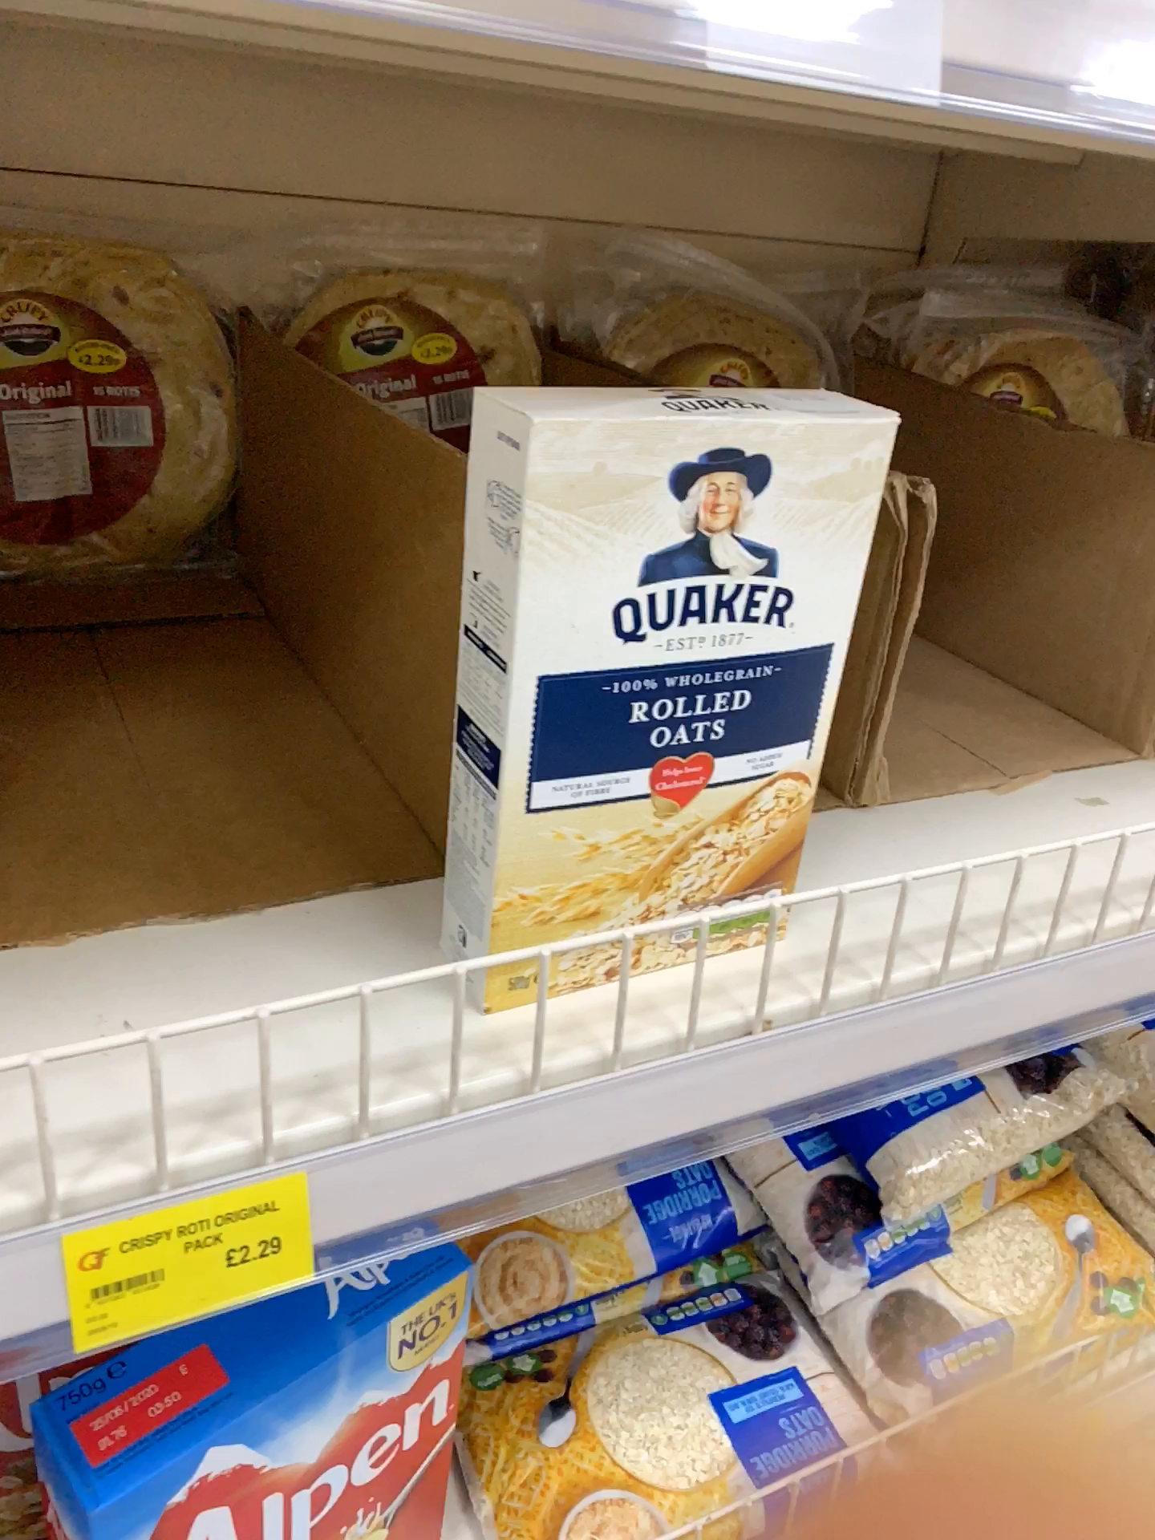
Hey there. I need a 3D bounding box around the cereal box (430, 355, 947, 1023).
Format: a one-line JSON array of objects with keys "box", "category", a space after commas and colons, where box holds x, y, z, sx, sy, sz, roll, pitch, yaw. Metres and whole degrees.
[{"box": [0.032, -0.030, 0.434, 0.150, 0.218, 0.060, -8, 30, -27], "category": "cereal box"}]
